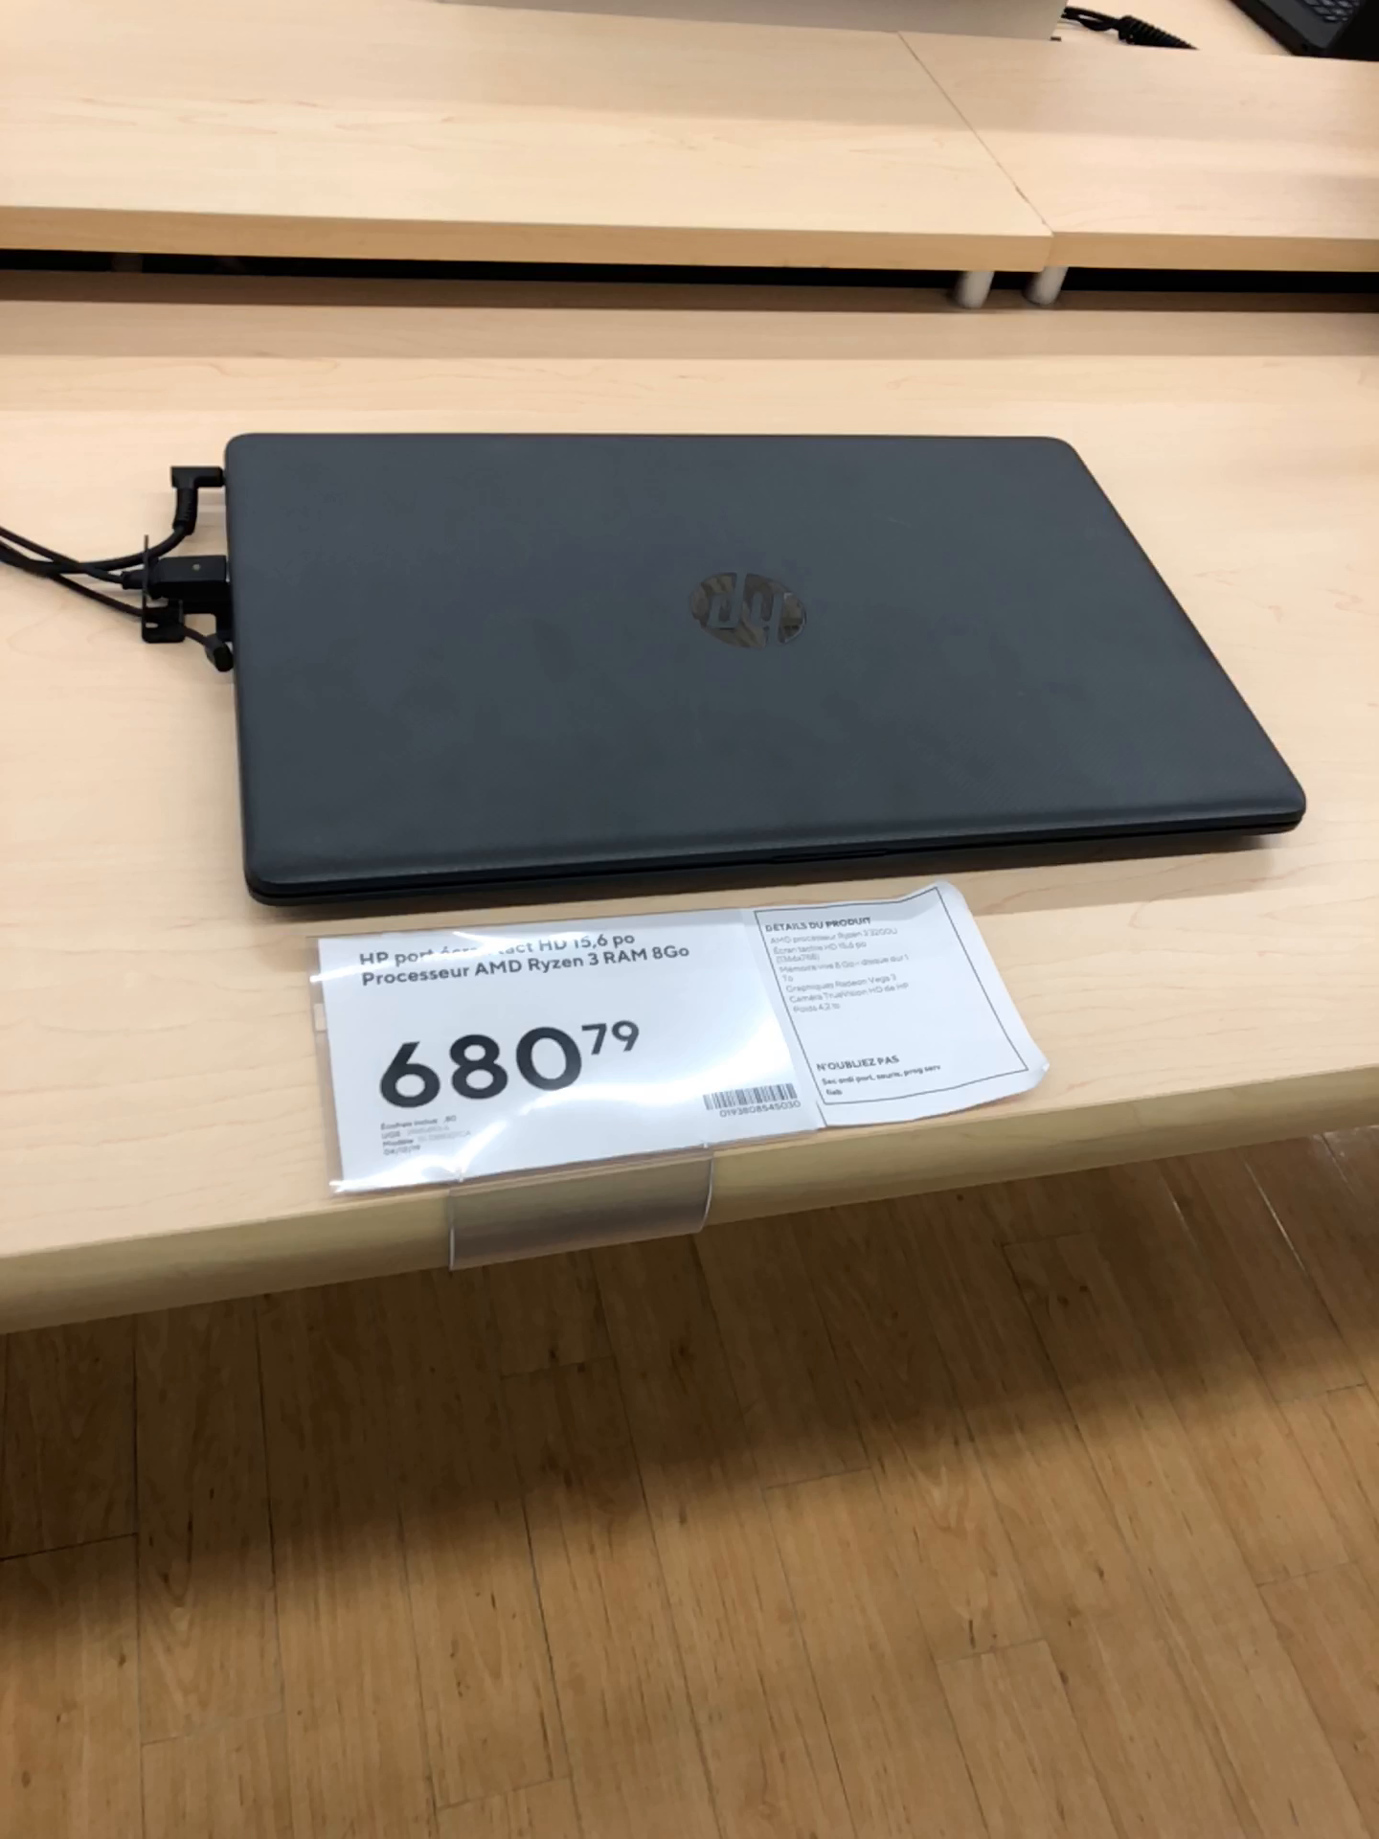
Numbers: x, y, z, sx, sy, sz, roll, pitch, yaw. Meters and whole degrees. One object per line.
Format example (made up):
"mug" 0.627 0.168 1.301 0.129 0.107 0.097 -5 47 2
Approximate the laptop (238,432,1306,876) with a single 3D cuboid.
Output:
"laptop" 0.022 -0.122 0.592 0.374 0.005 0.245 -5 49 -15
